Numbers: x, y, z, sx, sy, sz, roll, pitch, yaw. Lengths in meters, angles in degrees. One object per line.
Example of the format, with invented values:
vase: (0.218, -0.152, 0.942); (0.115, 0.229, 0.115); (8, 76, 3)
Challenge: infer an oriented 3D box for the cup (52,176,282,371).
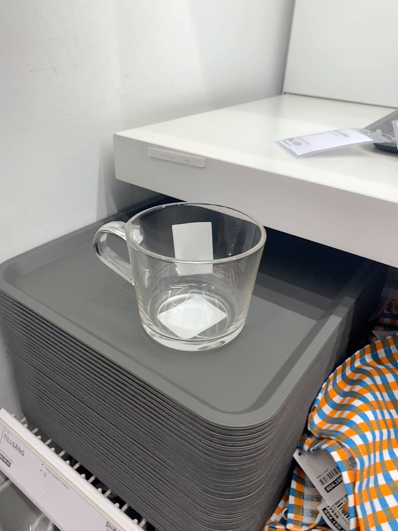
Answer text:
cup: (-0.020, -0.004, 0.312); (0.130, 0.080, 0.100); (16, 32, 21)
